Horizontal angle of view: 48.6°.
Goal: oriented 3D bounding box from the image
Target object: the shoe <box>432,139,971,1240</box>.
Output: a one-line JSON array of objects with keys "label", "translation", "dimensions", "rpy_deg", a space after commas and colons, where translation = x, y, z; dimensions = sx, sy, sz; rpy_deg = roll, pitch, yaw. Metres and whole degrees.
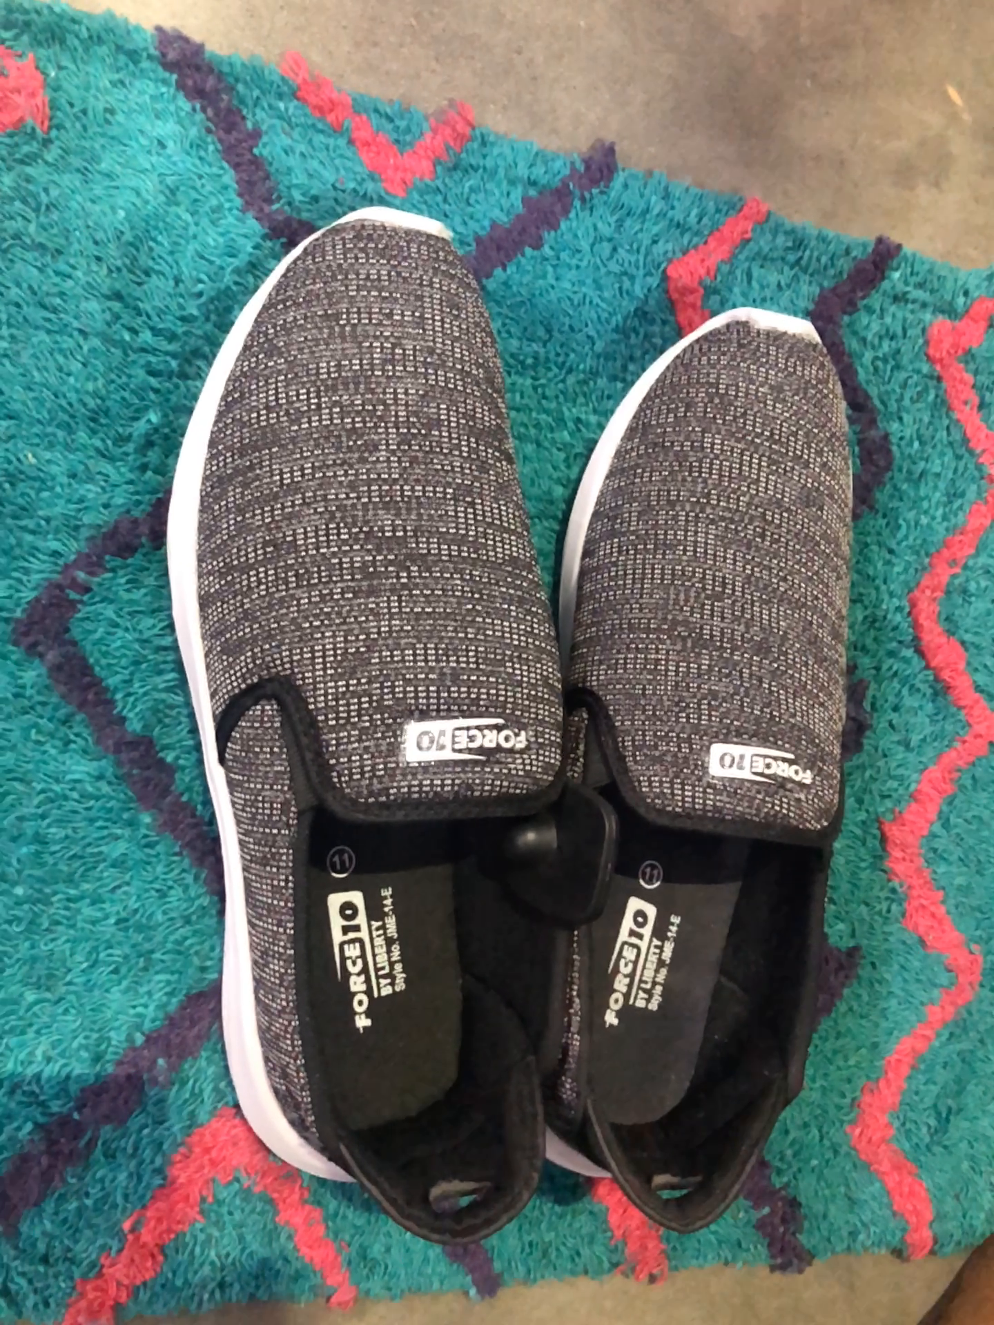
[{"label": "shoe", "translation": [0.068, 0.012, 0.391], "dimensions": [0.110, 0.100, 0.330], "rpy_deg": [10, 86, -18]}]

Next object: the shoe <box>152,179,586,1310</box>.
[{"label": "shoe", "translation": [-0.047, 0.020, 0.357], "dimensions": [0.110, 0.100, 0.300], "rpy_deg": [-2, 90, -18]}]
